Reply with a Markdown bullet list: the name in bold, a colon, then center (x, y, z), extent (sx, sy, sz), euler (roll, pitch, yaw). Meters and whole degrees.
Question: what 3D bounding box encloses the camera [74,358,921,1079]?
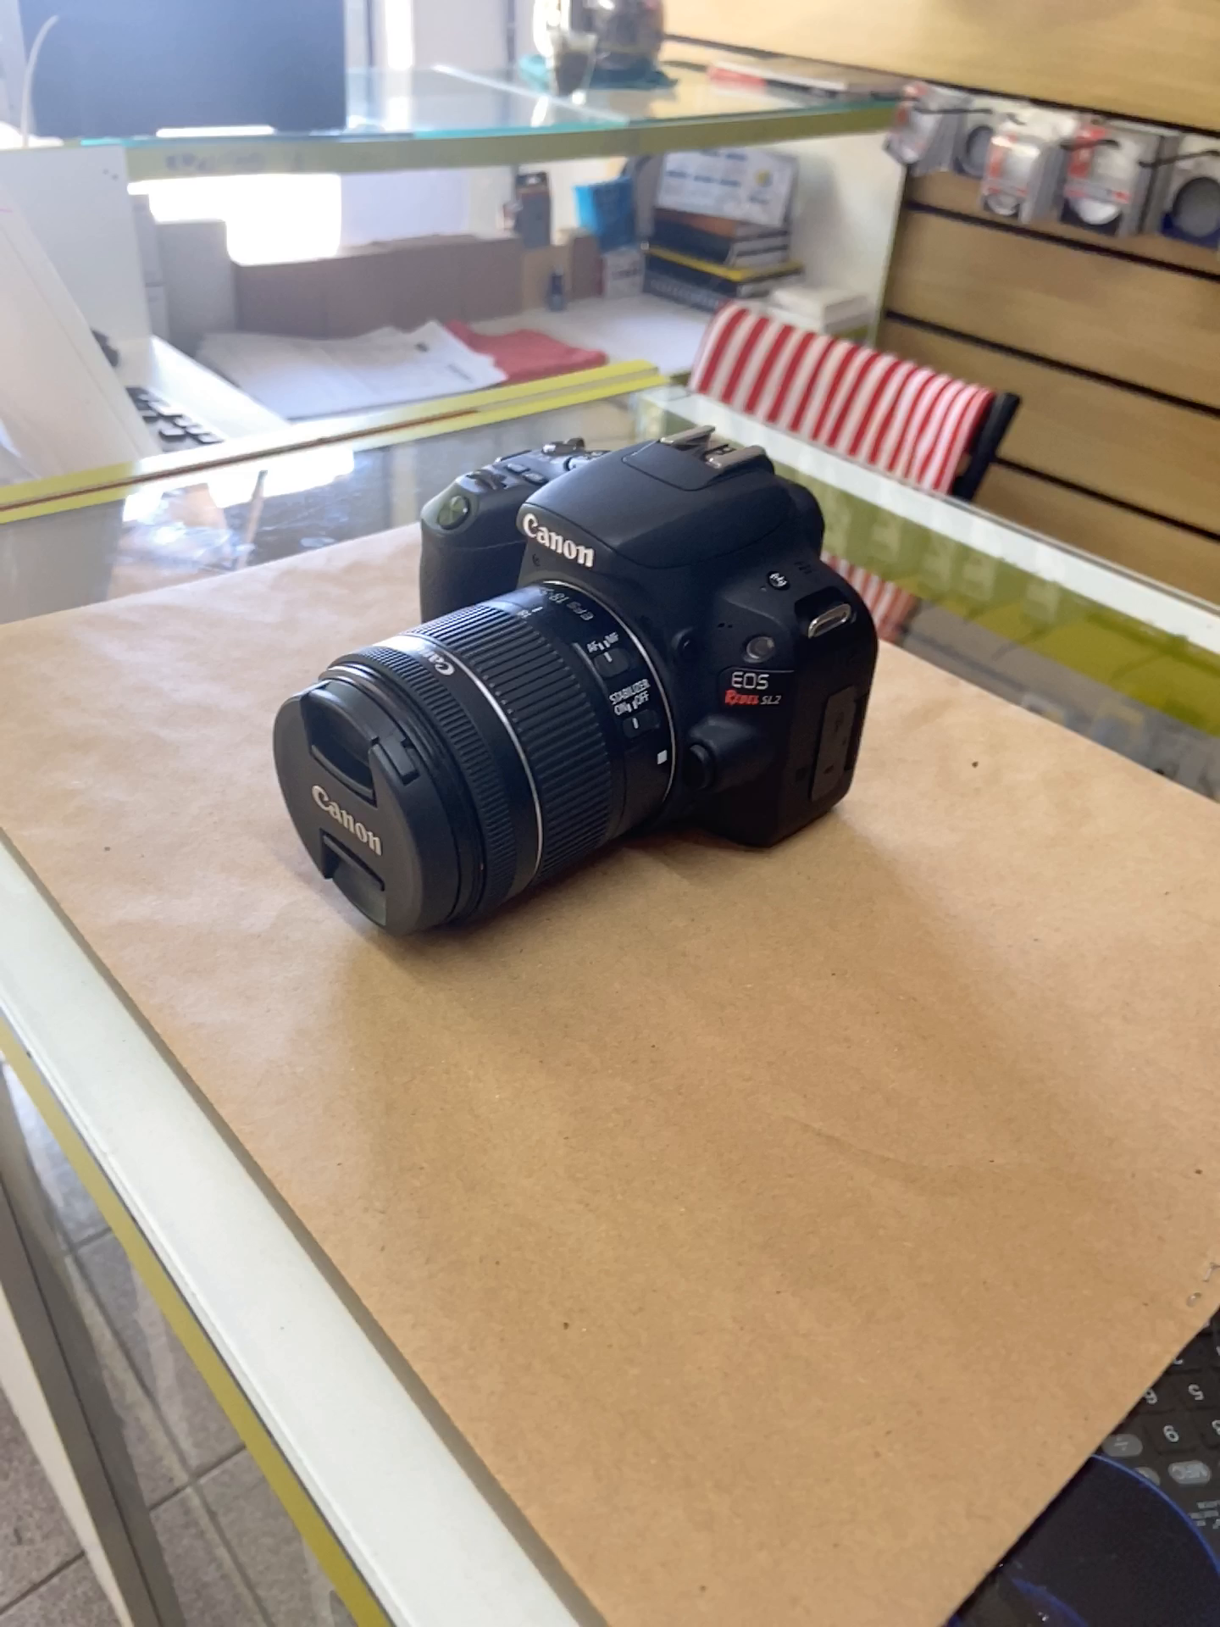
- **camera**: center (-0.027, -0.038, 0.311), extent (0.140, 0.089, 0.131), euler (31, 44, 33)
